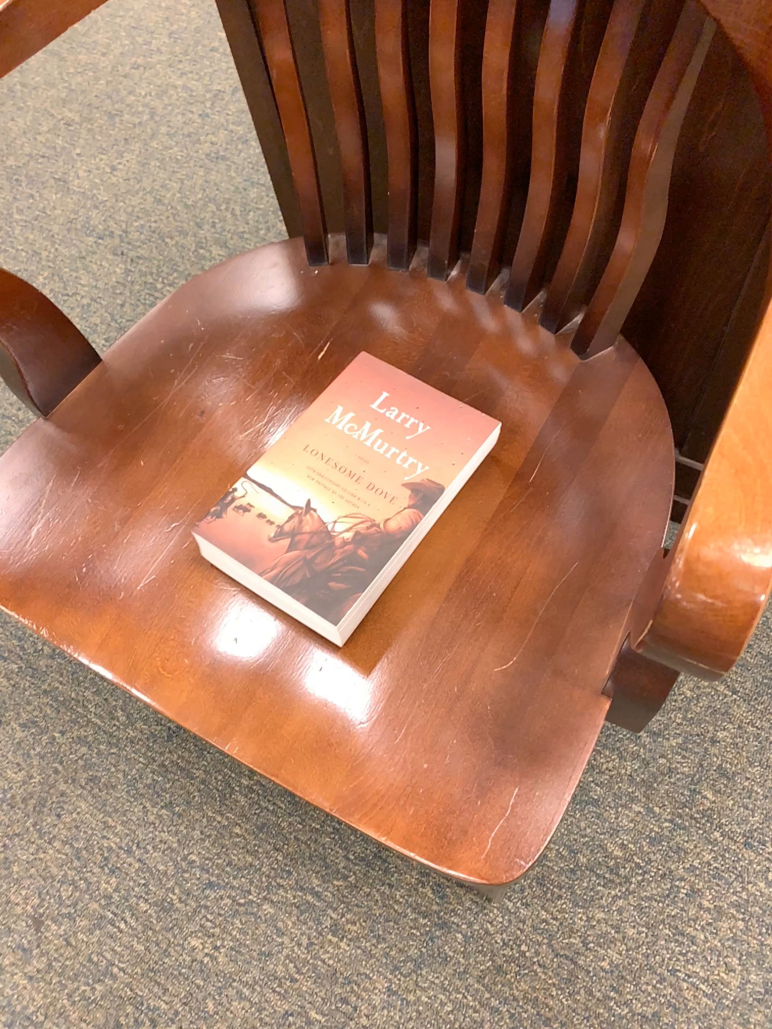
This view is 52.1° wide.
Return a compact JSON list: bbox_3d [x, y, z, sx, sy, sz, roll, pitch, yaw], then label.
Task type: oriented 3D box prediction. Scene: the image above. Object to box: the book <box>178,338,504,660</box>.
[{"bbox_3d":[-0.027,-0.019,0.587,0.140,0.060,0.200,30,66,21],"label":"book"}]
